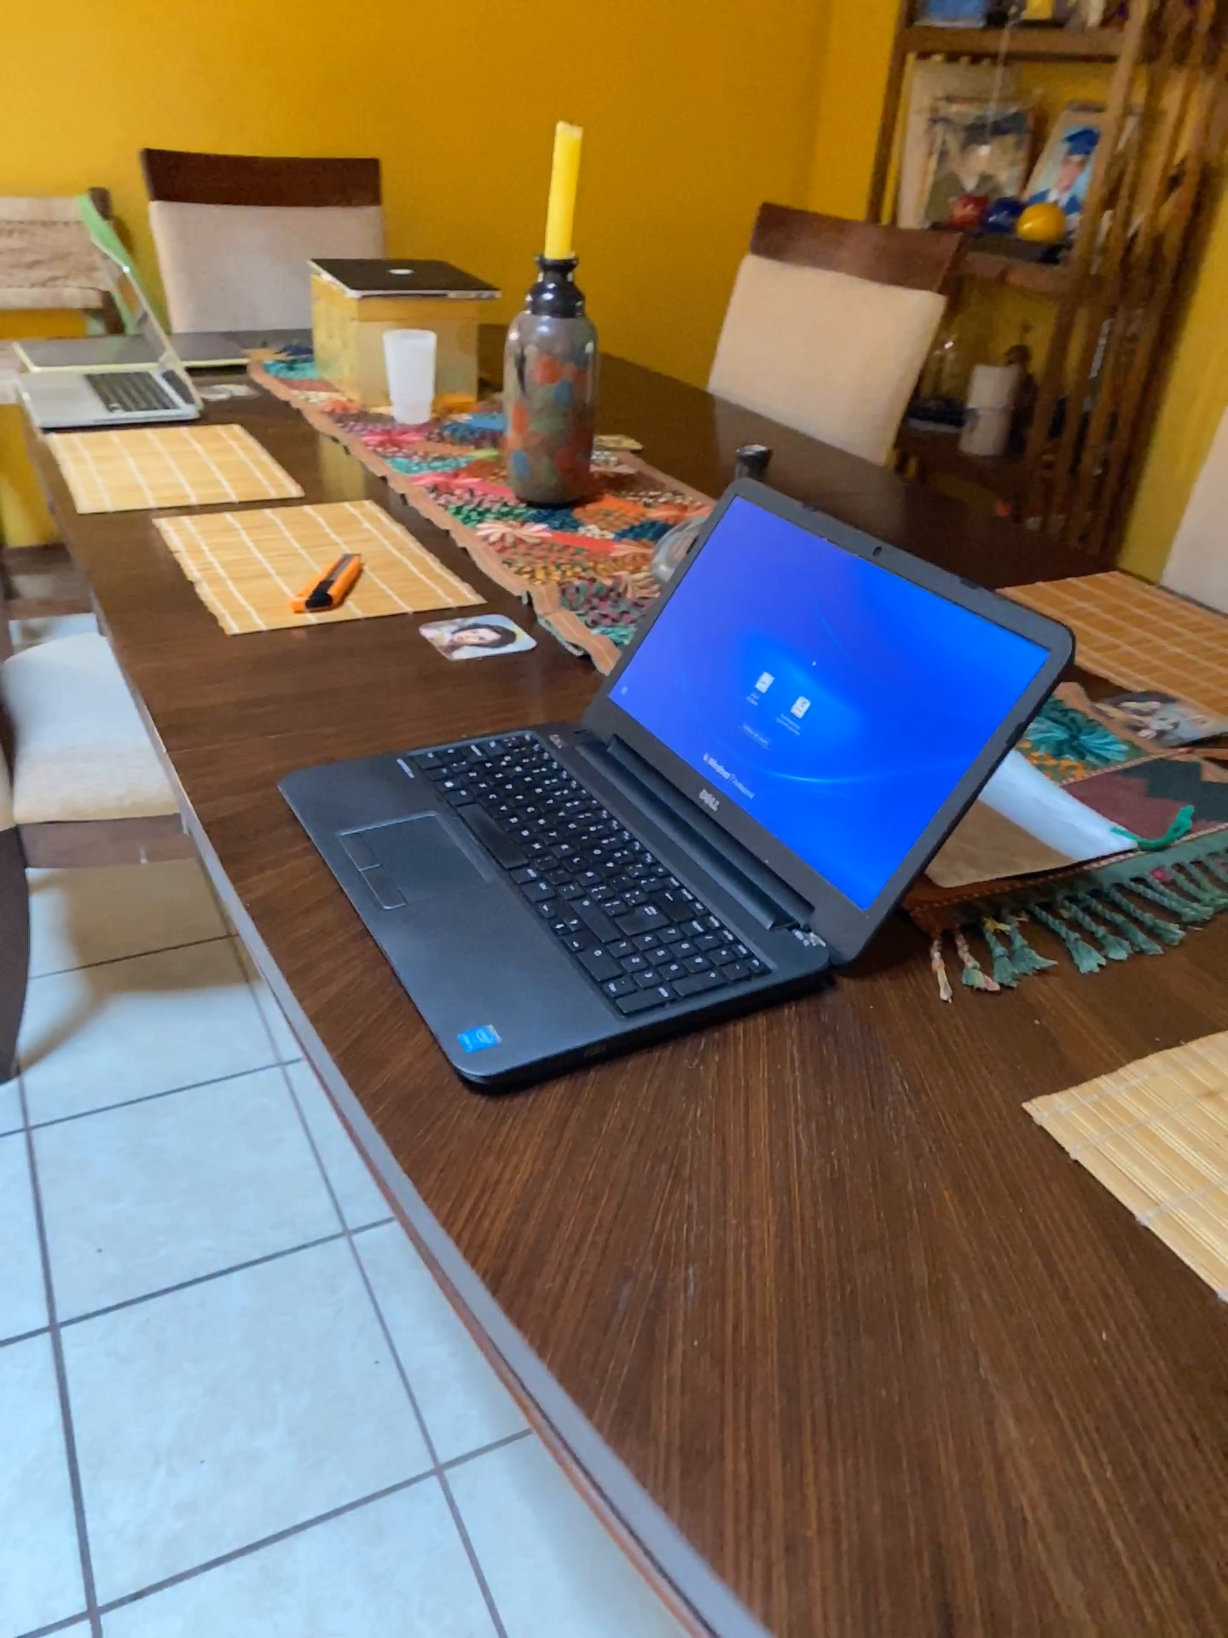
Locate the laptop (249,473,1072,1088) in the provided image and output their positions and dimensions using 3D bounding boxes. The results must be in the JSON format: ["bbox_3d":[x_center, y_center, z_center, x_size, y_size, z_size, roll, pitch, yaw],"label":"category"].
[{"bbox_3d":[0.008,-0.069,0.849,0.396,0.194,0.369,-13,35,-26],"label":"laptop"}]
